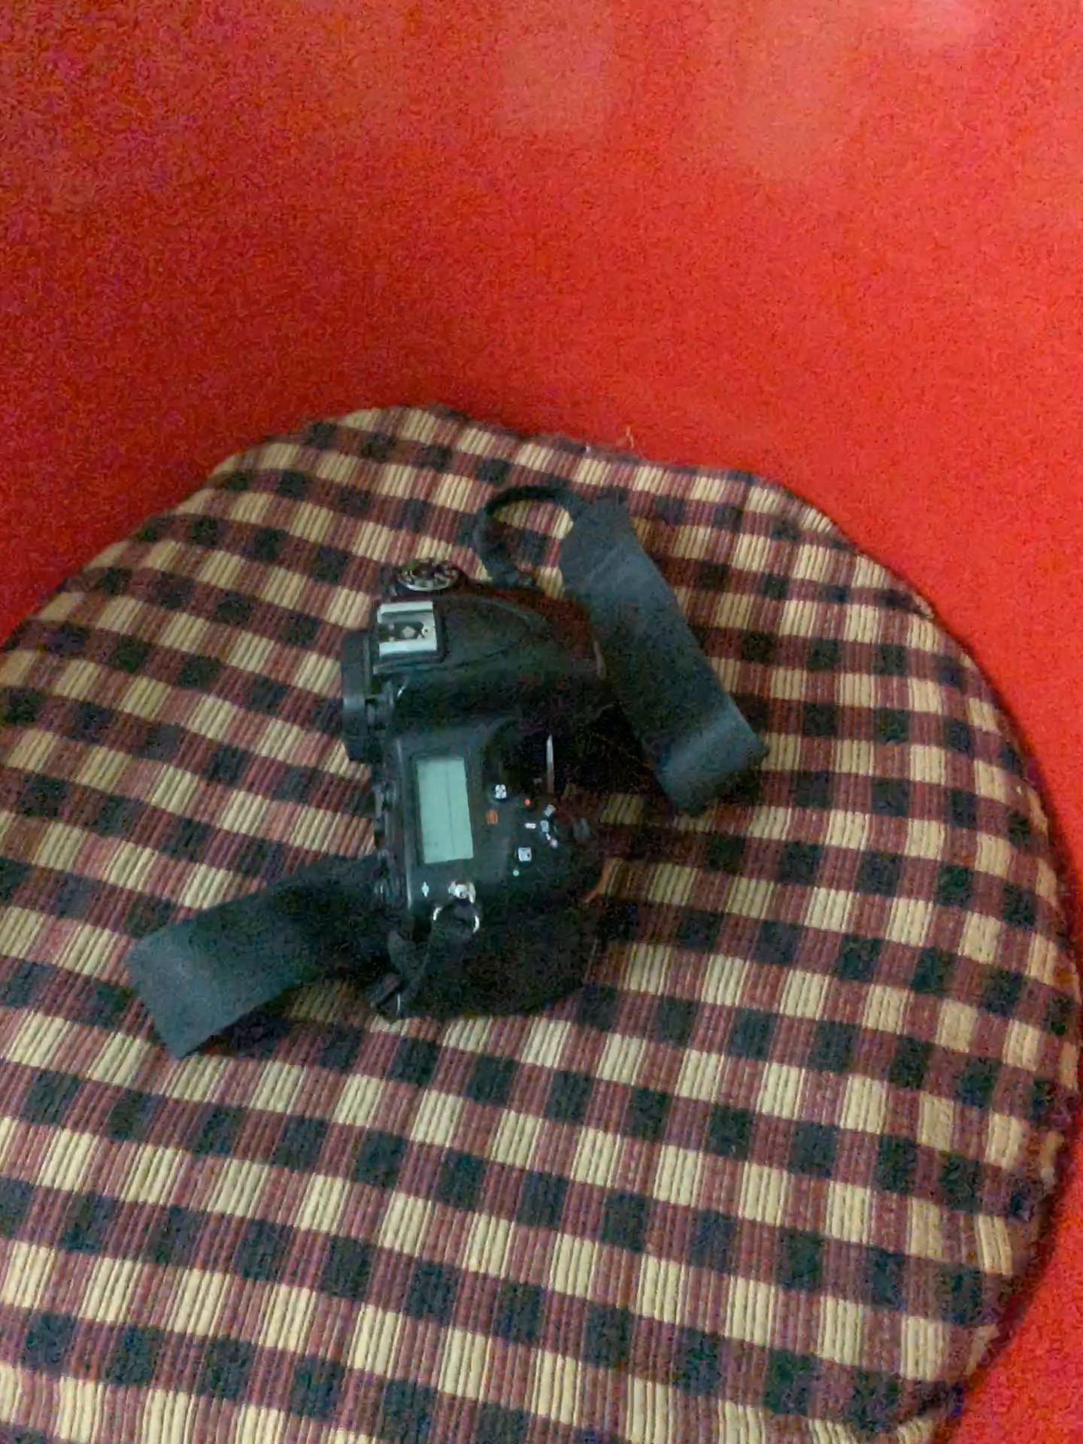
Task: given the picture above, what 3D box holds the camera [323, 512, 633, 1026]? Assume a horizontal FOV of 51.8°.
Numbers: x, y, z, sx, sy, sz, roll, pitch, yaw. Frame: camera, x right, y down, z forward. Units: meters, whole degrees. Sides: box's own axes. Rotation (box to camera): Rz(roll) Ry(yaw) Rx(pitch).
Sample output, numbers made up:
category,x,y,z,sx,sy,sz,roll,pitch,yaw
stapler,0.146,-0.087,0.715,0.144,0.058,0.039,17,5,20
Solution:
category,x,y,z,sx,sy,sz,roll,pitch,yaw
camera,-0.016,0.017,0.360,0.080,0.090,0.140,1,63,0
